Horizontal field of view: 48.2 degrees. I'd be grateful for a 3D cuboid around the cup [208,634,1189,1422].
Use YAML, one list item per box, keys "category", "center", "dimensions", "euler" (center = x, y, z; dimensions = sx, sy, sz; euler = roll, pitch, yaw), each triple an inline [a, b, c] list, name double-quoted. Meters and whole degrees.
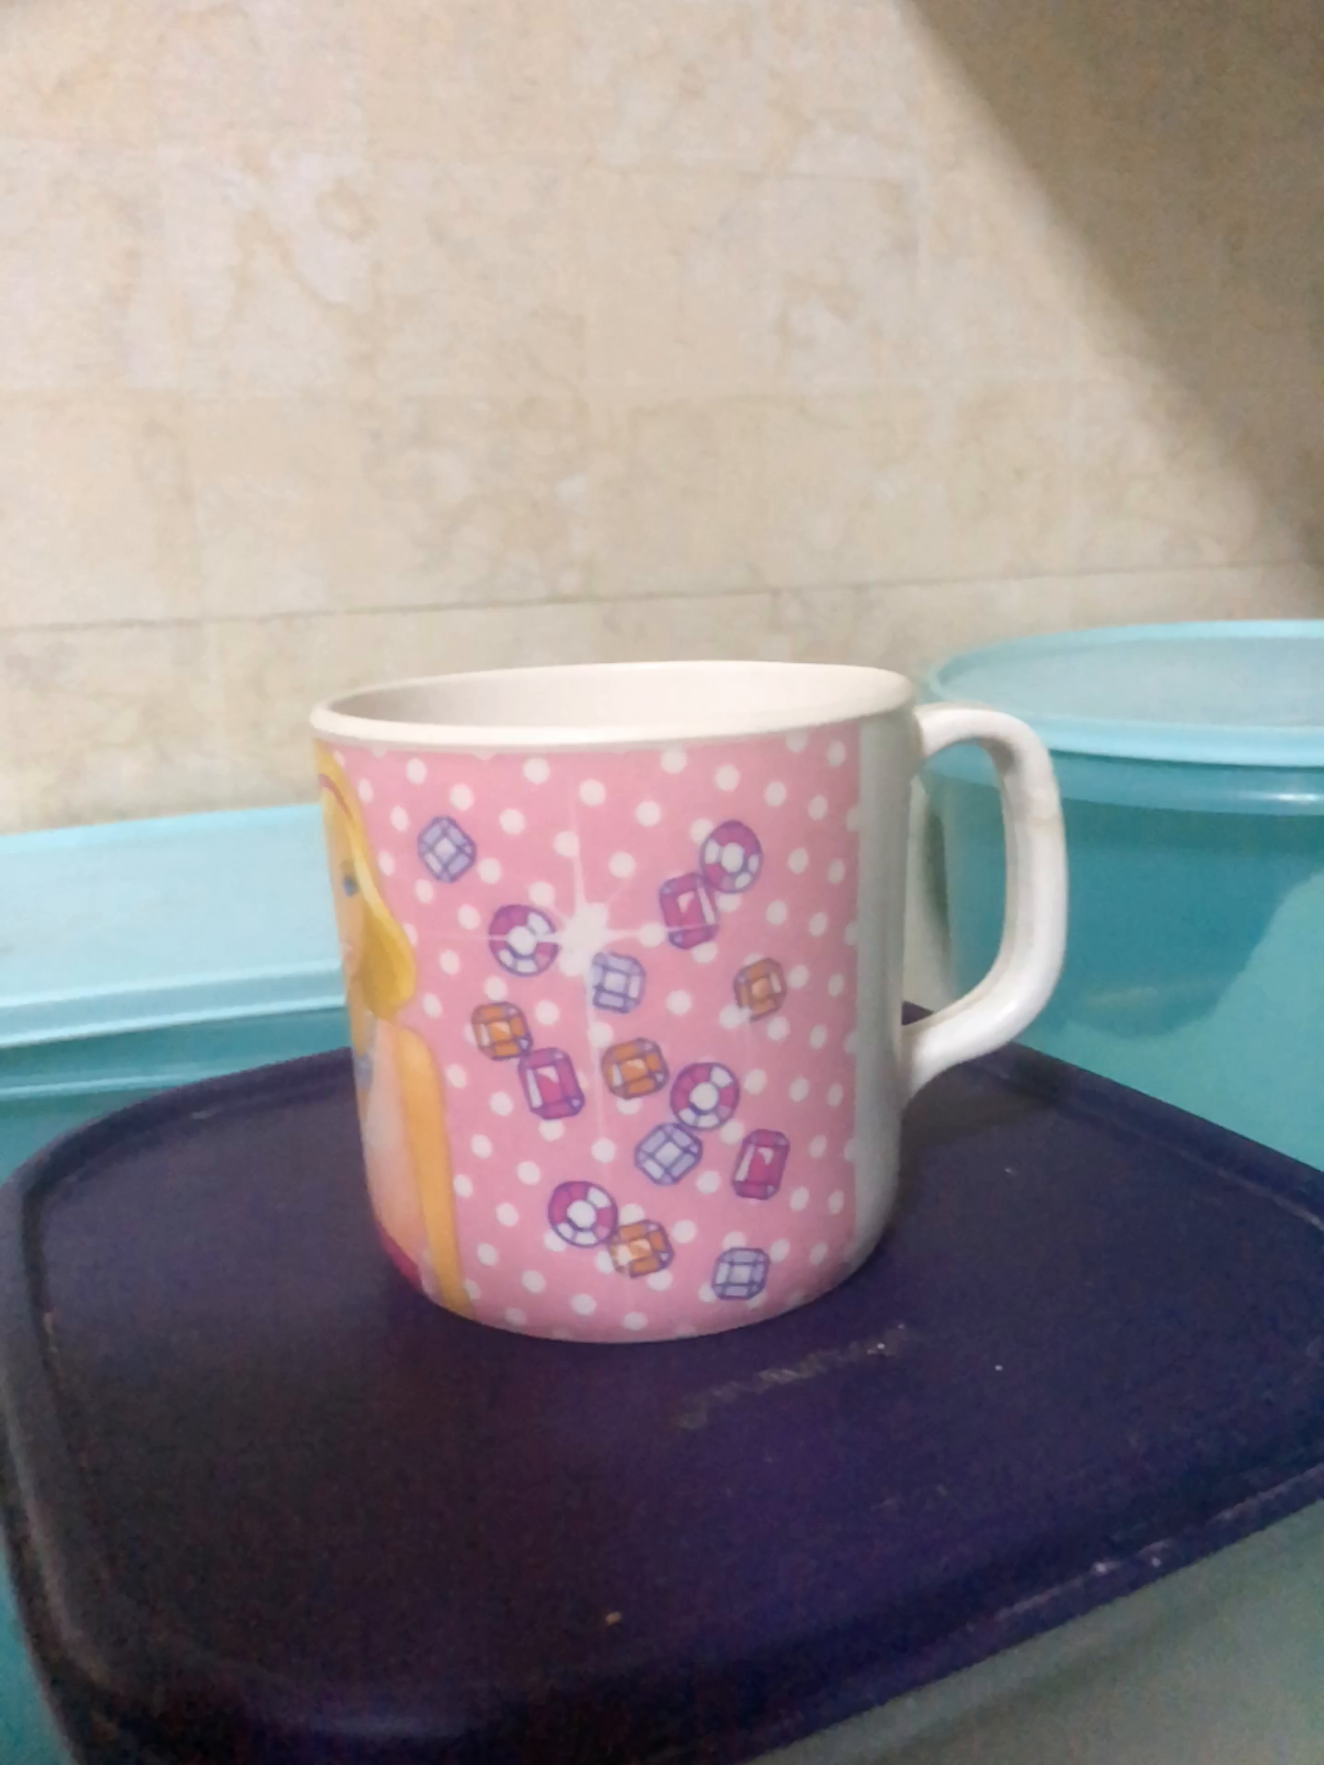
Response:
- category: "cup"
  center: [0.003, 0.008, 0.224]
  dimensions: [0.120, 0.080, 0.080]
  euler: [-8, 14, -24]
